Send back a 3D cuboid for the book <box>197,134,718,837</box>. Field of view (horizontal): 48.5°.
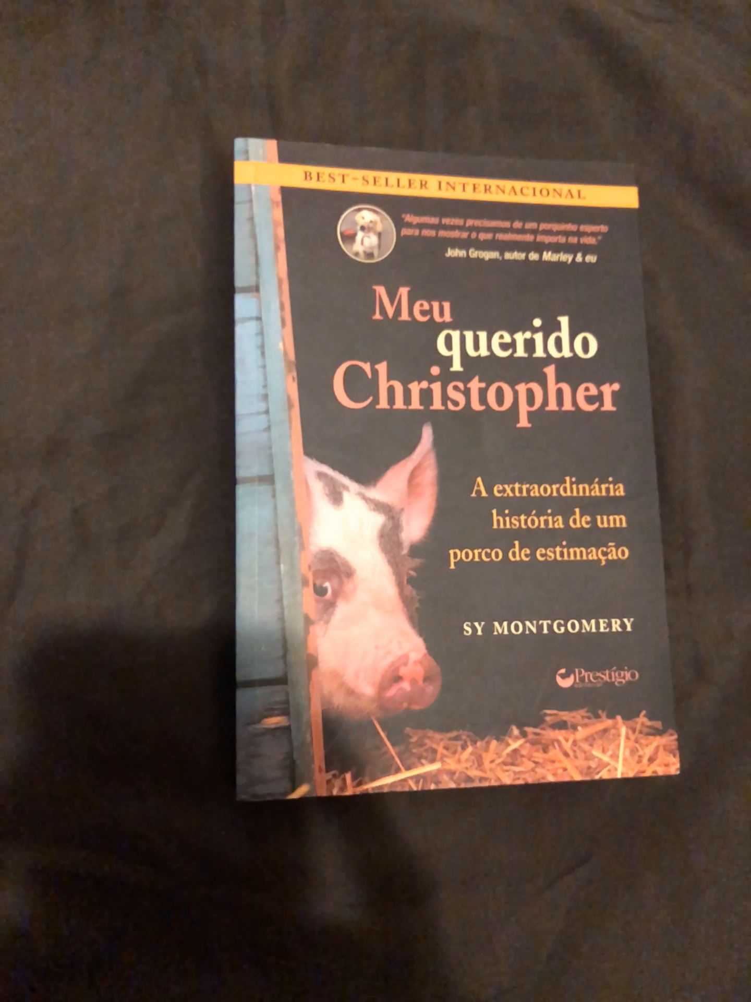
[{"bbox_3d":[0.028,-0.010,0.288,0.170,0.020,0.220,-1,85,-13],"label":"book"}]
